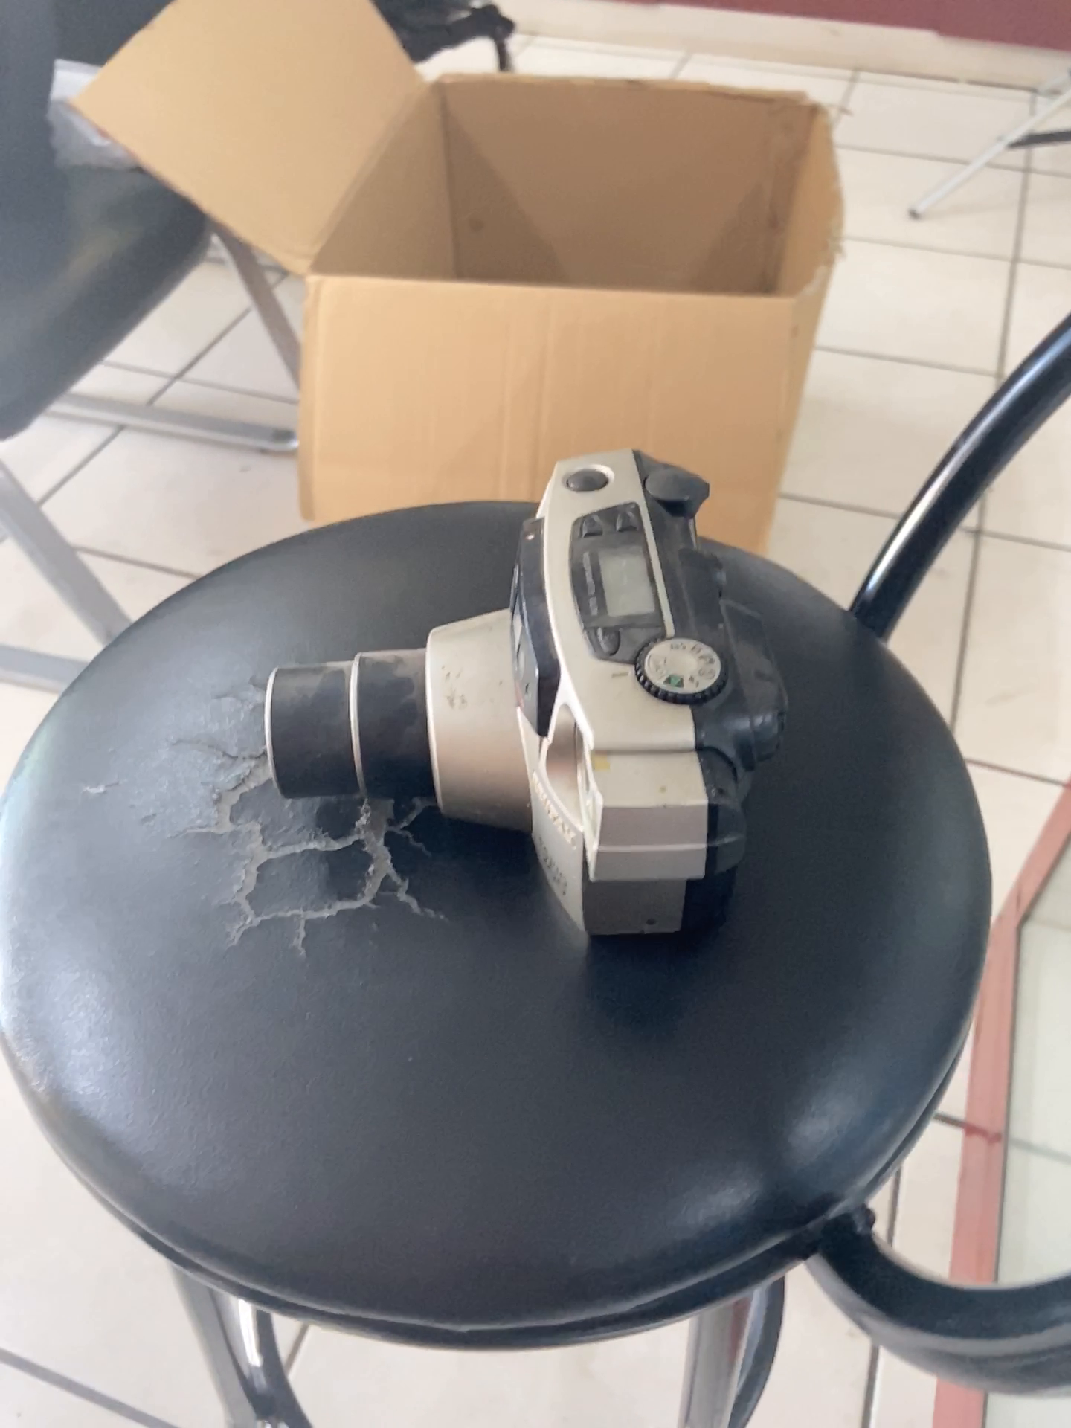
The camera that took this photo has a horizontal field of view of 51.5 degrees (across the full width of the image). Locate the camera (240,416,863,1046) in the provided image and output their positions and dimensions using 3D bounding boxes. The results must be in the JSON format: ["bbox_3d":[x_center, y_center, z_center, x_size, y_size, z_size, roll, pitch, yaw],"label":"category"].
[{"bbox_3d":[-0.003,-0.001,0.285,0.120,0.080,0.131,-6,47,-4],"label":"camera"}]
